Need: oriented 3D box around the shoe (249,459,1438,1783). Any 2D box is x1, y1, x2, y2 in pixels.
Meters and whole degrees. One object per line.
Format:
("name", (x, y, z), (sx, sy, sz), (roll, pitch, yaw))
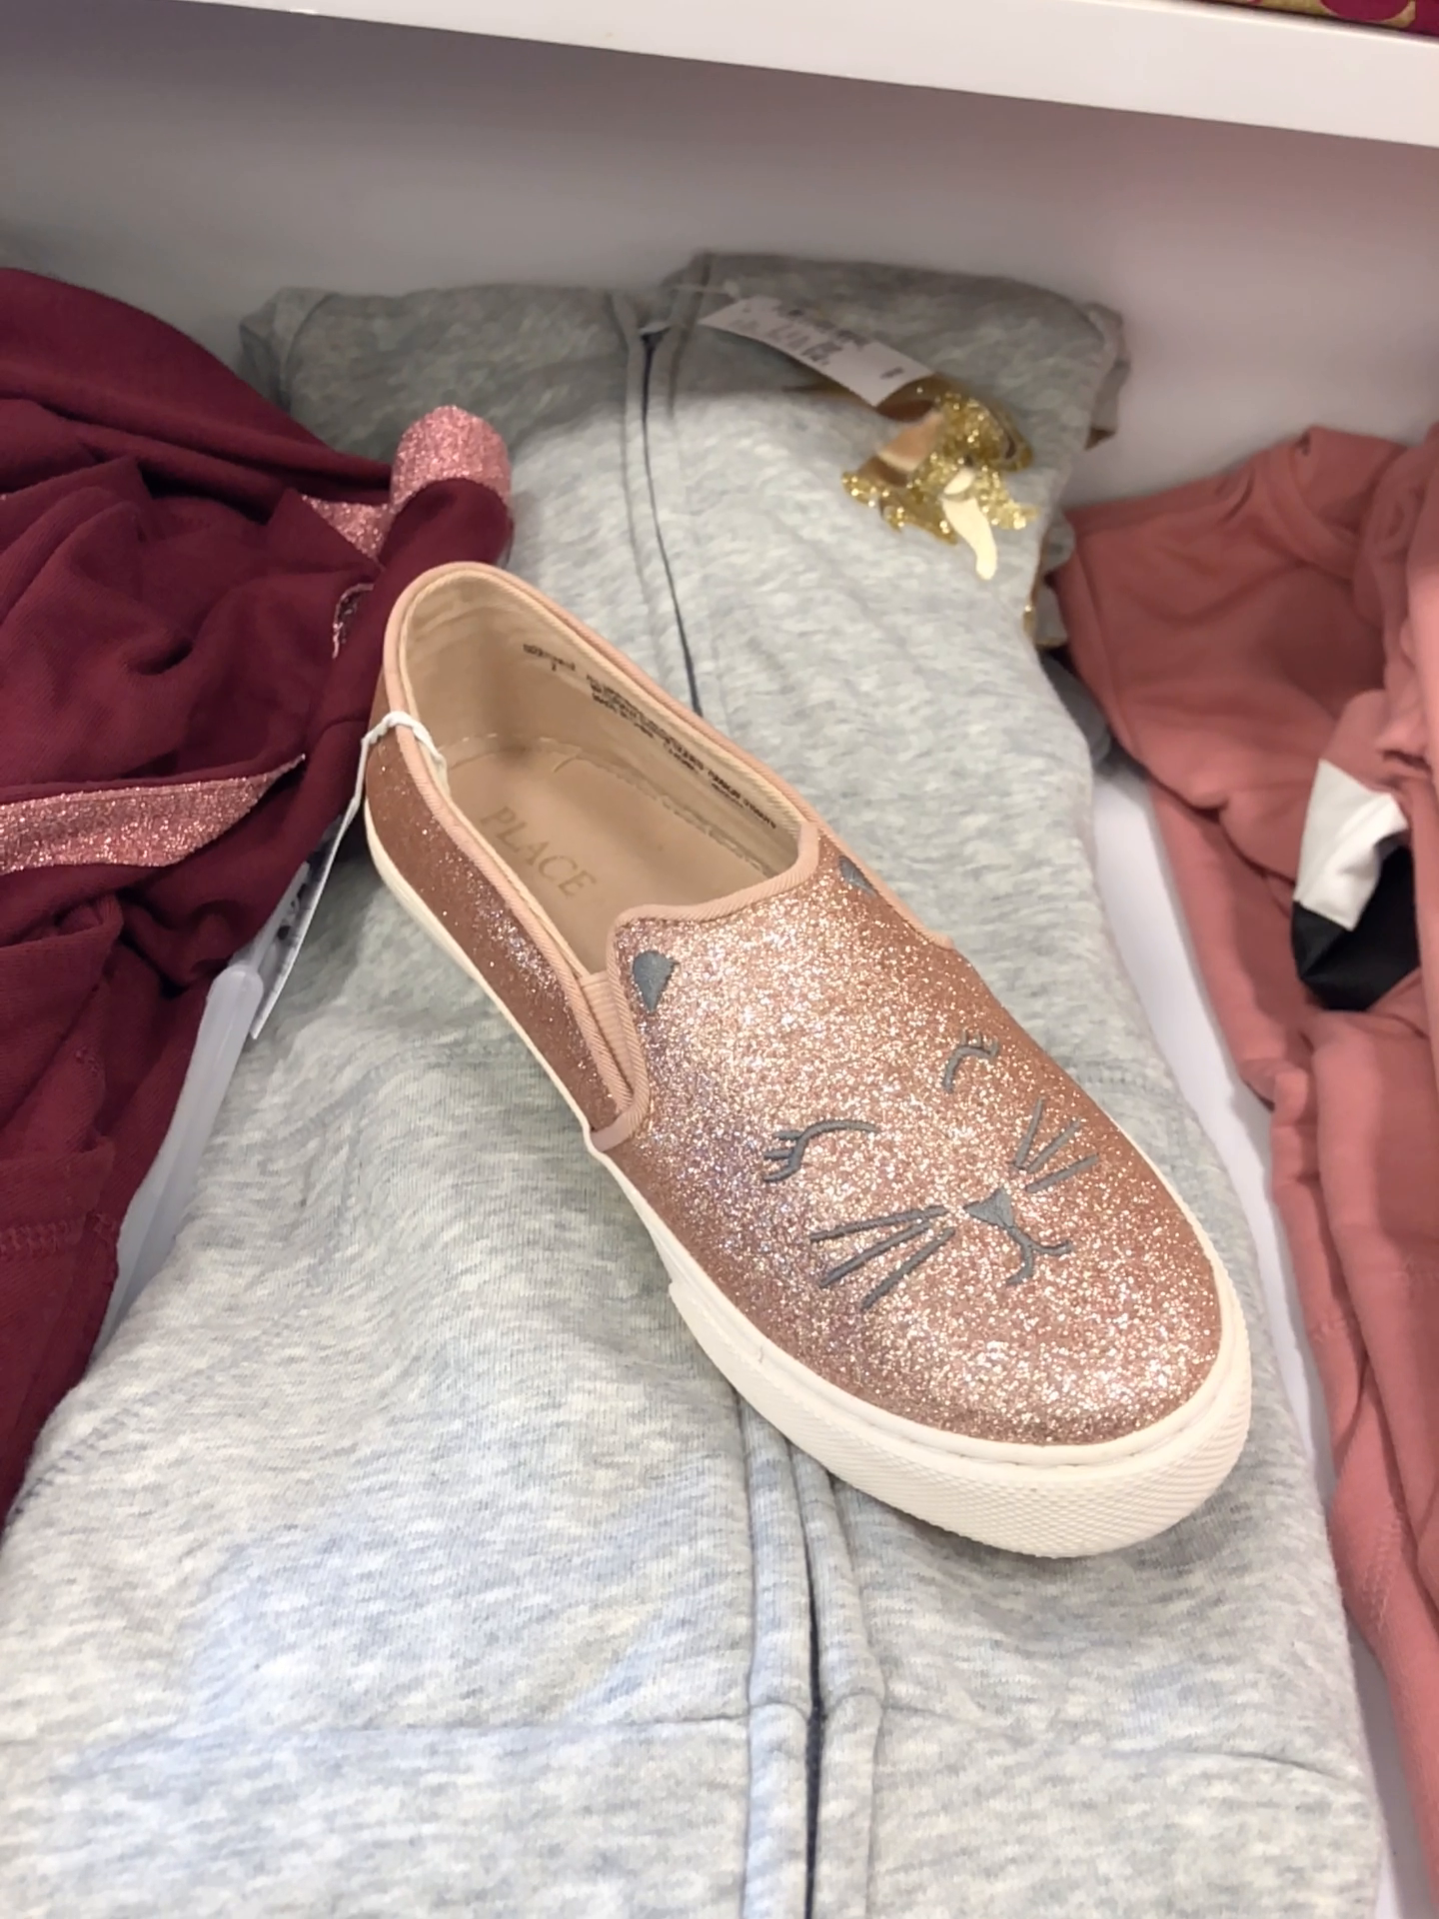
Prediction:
("shoe", (0.009, 0.004, 0.280), (0.090, 0.080, 0.221), (-21, 49, -28))
